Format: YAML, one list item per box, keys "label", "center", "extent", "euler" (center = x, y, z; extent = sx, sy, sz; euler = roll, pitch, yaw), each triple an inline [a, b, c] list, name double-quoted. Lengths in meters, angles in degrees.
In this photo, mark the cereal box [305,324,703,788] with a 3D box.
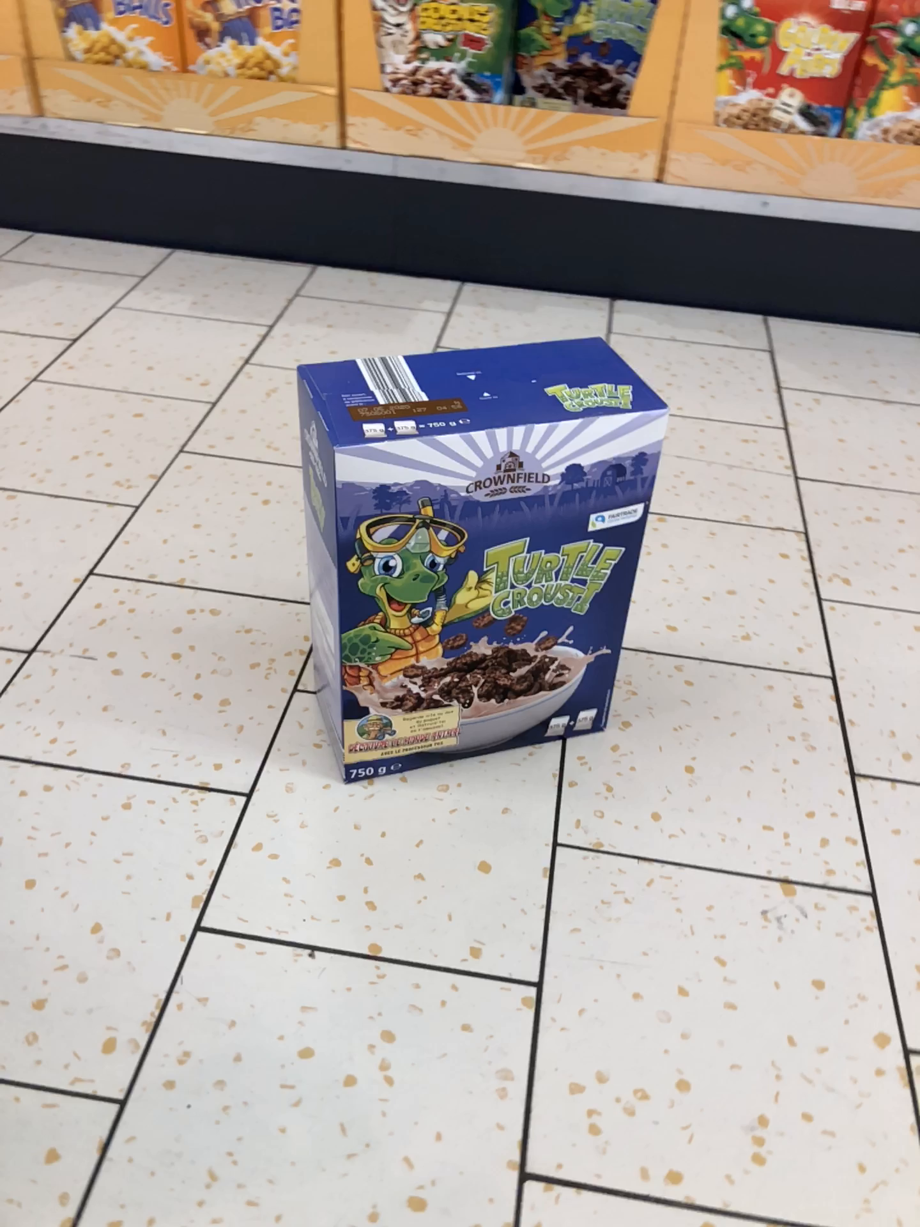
- label: "cereal box"
  center: [0.015, -0.033, 0.641]
  extent: [0.200, 0.258, 0.100]
  euler: [-9, 40, -16]
